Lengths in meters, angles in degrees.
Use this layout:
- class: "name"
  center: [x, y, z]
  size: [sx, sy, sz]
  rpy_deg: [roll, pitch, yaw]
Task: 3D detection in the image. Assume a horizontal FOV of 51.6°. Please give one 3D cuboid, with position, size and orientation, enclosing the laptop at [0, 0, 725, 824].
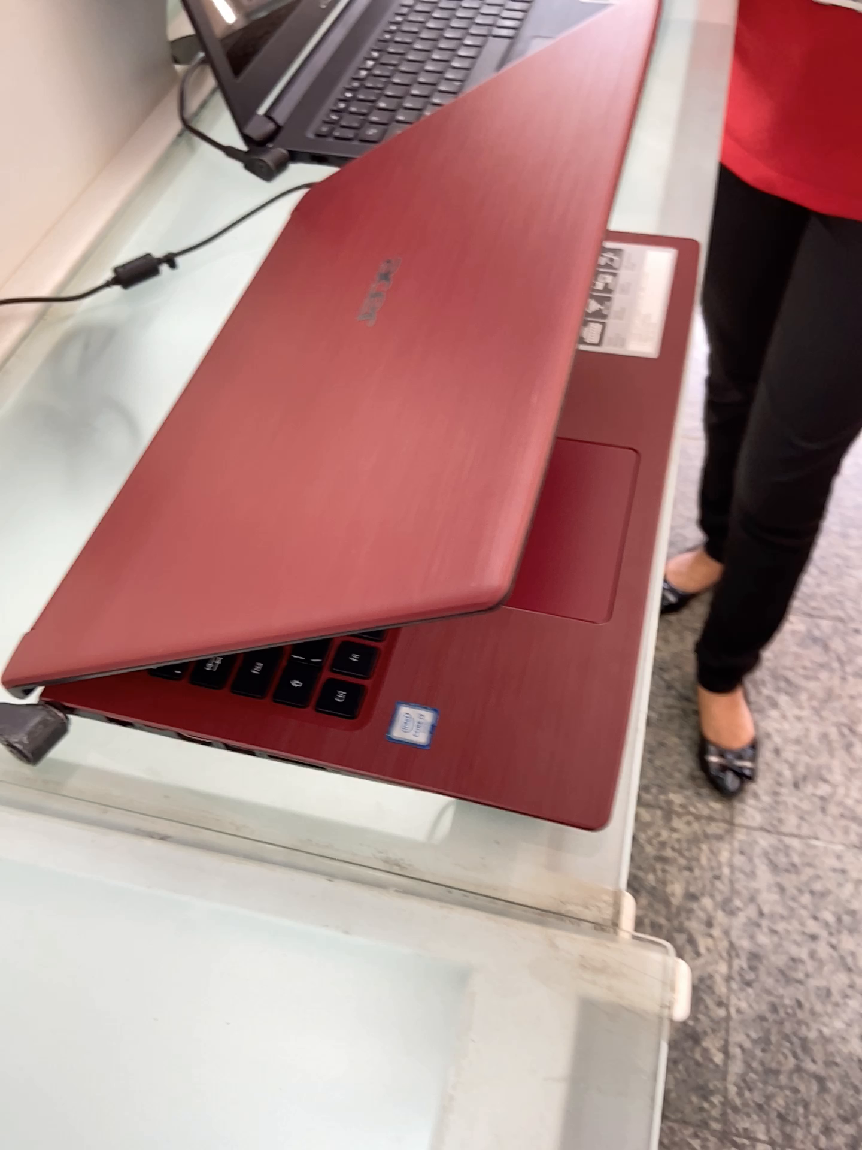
- class: "laptop"
  center: [-0.010, -0.117, 0.407]
  size: [0.236, 0.132, 0.381]
  rpy_deg: [10, 54, 11]

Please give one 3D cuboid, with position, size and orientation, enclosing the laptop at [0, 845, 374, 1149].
- class: "laptop"
  center: [-0.245, 0.273, 0.067]
  size: [0.377, 0.216, 0.355]
  rpy_deg: [10, 52, 11]
